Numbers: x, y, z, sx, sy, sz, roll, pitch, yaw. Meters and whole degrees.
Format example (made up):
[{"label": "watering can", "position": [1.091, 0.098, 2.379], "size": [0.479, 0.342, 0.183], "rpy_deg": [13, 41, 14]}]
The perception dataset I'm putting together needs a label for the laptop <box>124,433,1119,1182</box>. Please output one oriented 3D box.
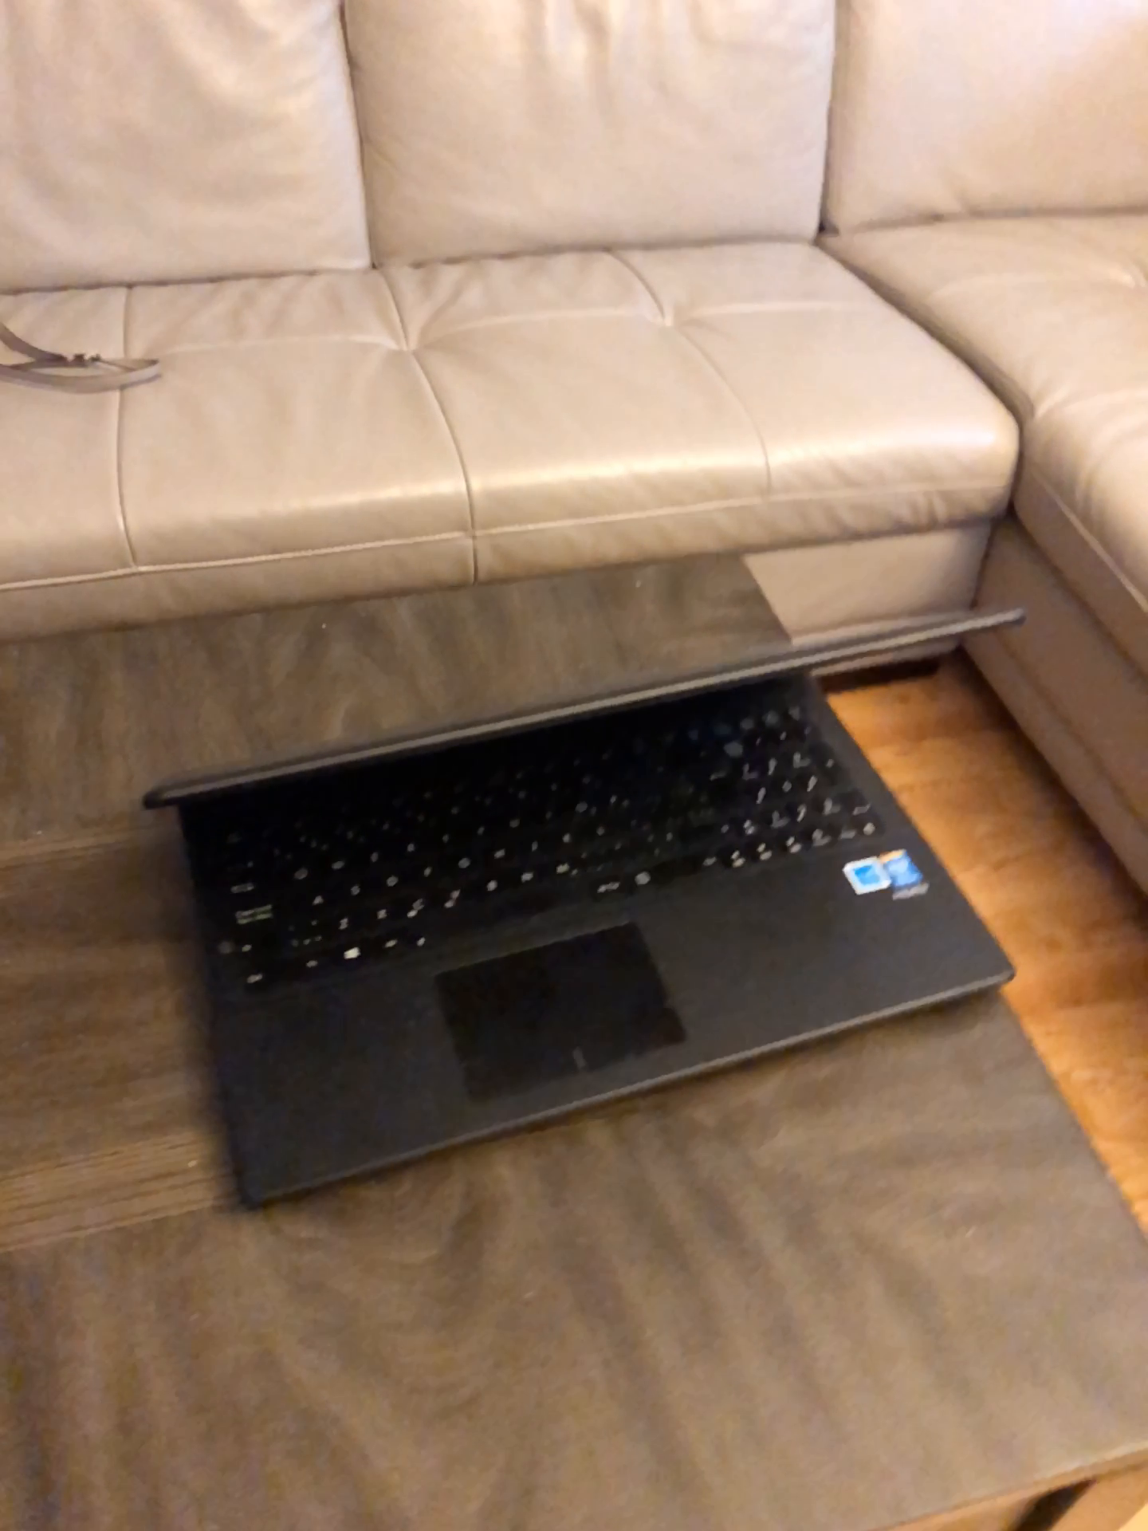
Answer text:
[{"label": "laptop", "position": [0.006, -0.001, 0.604], "size": [0.372, 0.164, 0.239], "rpy_deg": [-12, 46, -15]}]
